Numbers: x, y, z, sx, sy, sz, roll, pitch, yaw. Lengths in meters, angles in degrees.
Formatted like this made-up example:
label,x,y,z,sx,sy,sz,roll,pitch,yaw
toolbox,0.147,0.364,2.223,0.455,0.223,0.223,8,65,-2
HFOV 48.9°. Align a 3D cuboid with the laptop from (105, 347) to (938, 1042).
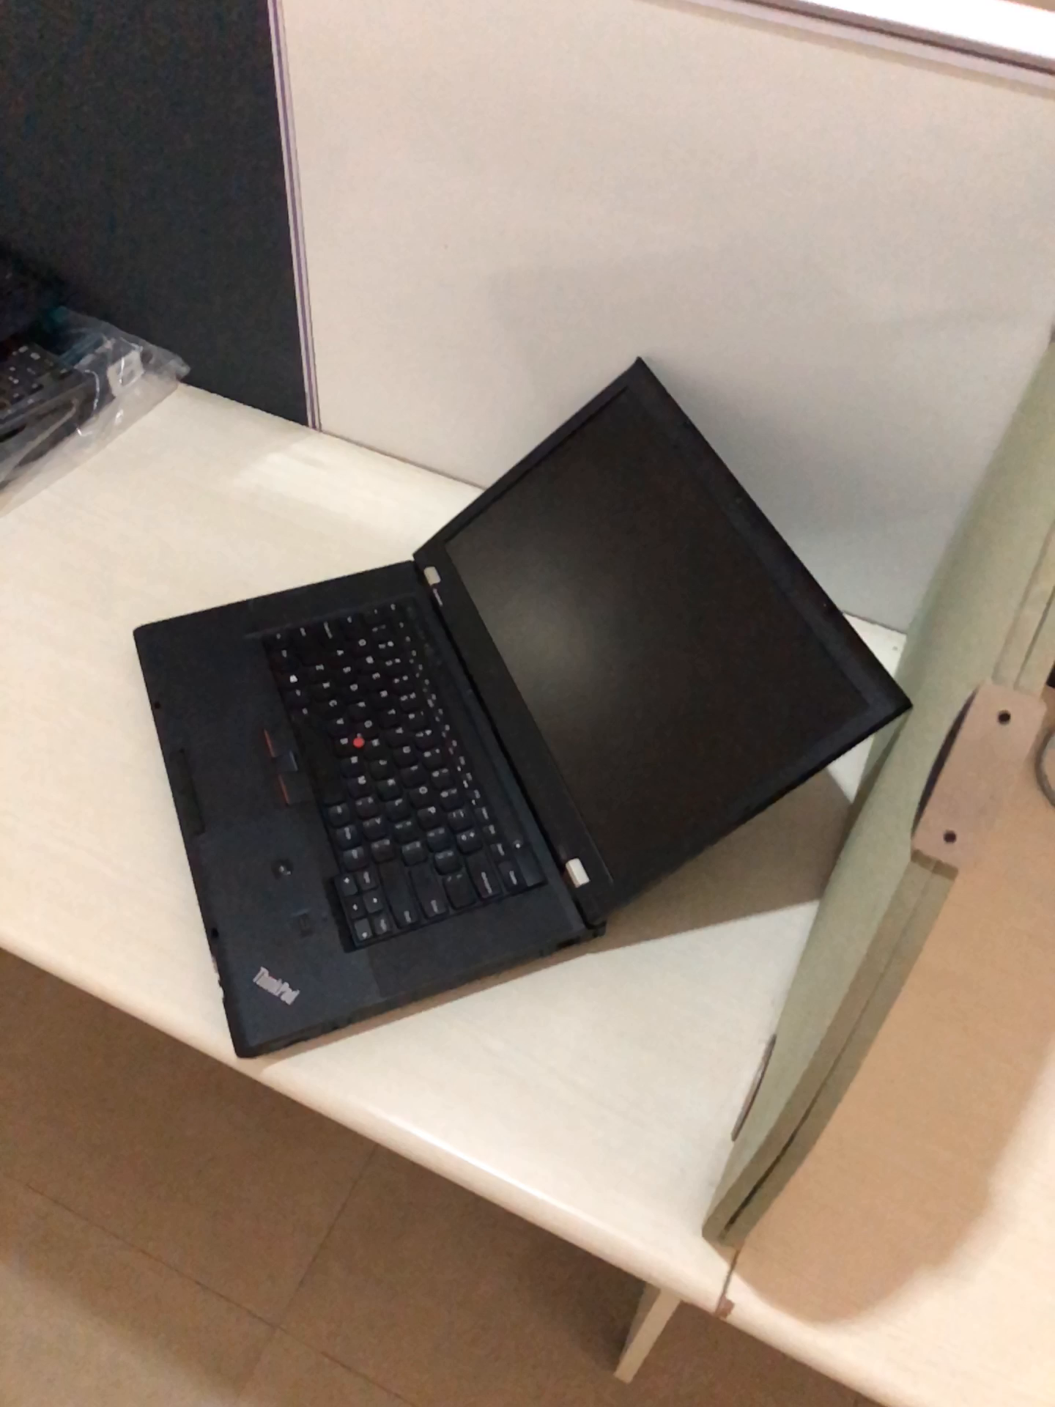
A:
label,x,y,z,sx,sy,sz,roll,pitch,yaw
laptop,-0.032,-0.033,0.768,0.411,0.142,0.354,-17,52,-12
